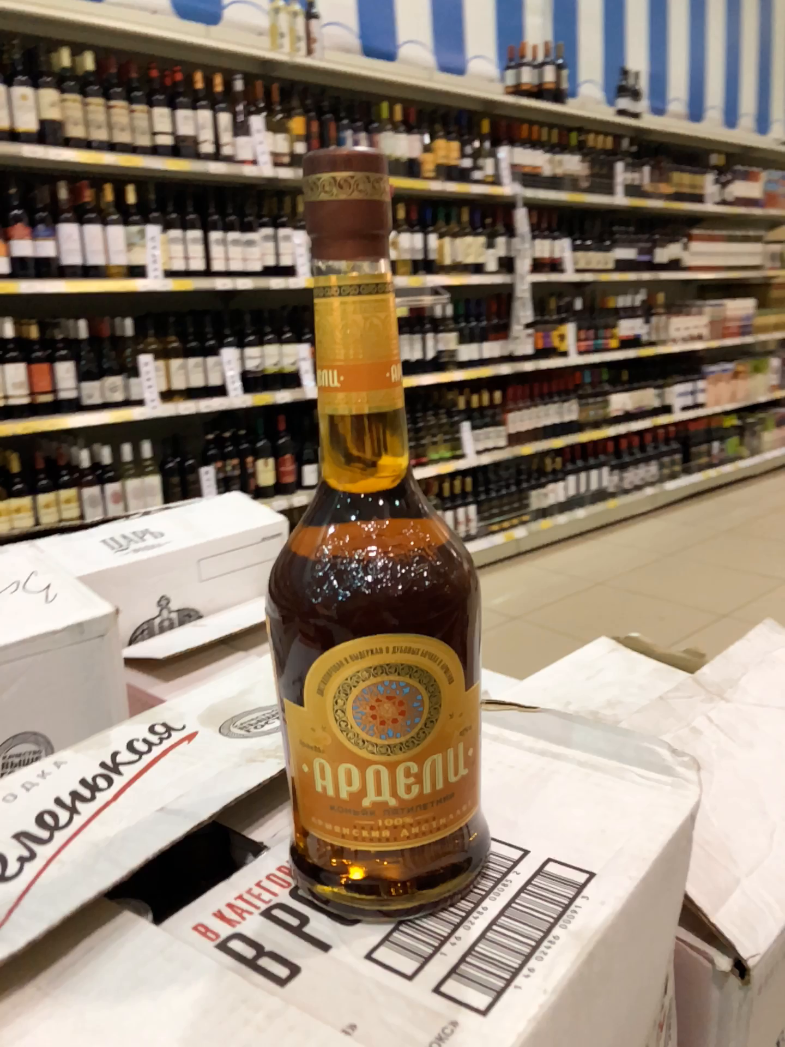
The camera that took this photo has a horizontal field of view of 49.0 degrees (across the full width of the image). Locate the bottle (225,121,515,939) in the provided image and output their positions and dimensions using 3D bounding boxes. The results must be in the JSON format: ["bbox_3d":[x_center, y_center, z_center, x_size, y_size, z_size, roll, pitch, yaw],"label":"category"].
[{"bbox_3d":[-0.004,0.006,0.307,0.080,0.259,0.080,-2,14,0],"label":"bottle"}]
